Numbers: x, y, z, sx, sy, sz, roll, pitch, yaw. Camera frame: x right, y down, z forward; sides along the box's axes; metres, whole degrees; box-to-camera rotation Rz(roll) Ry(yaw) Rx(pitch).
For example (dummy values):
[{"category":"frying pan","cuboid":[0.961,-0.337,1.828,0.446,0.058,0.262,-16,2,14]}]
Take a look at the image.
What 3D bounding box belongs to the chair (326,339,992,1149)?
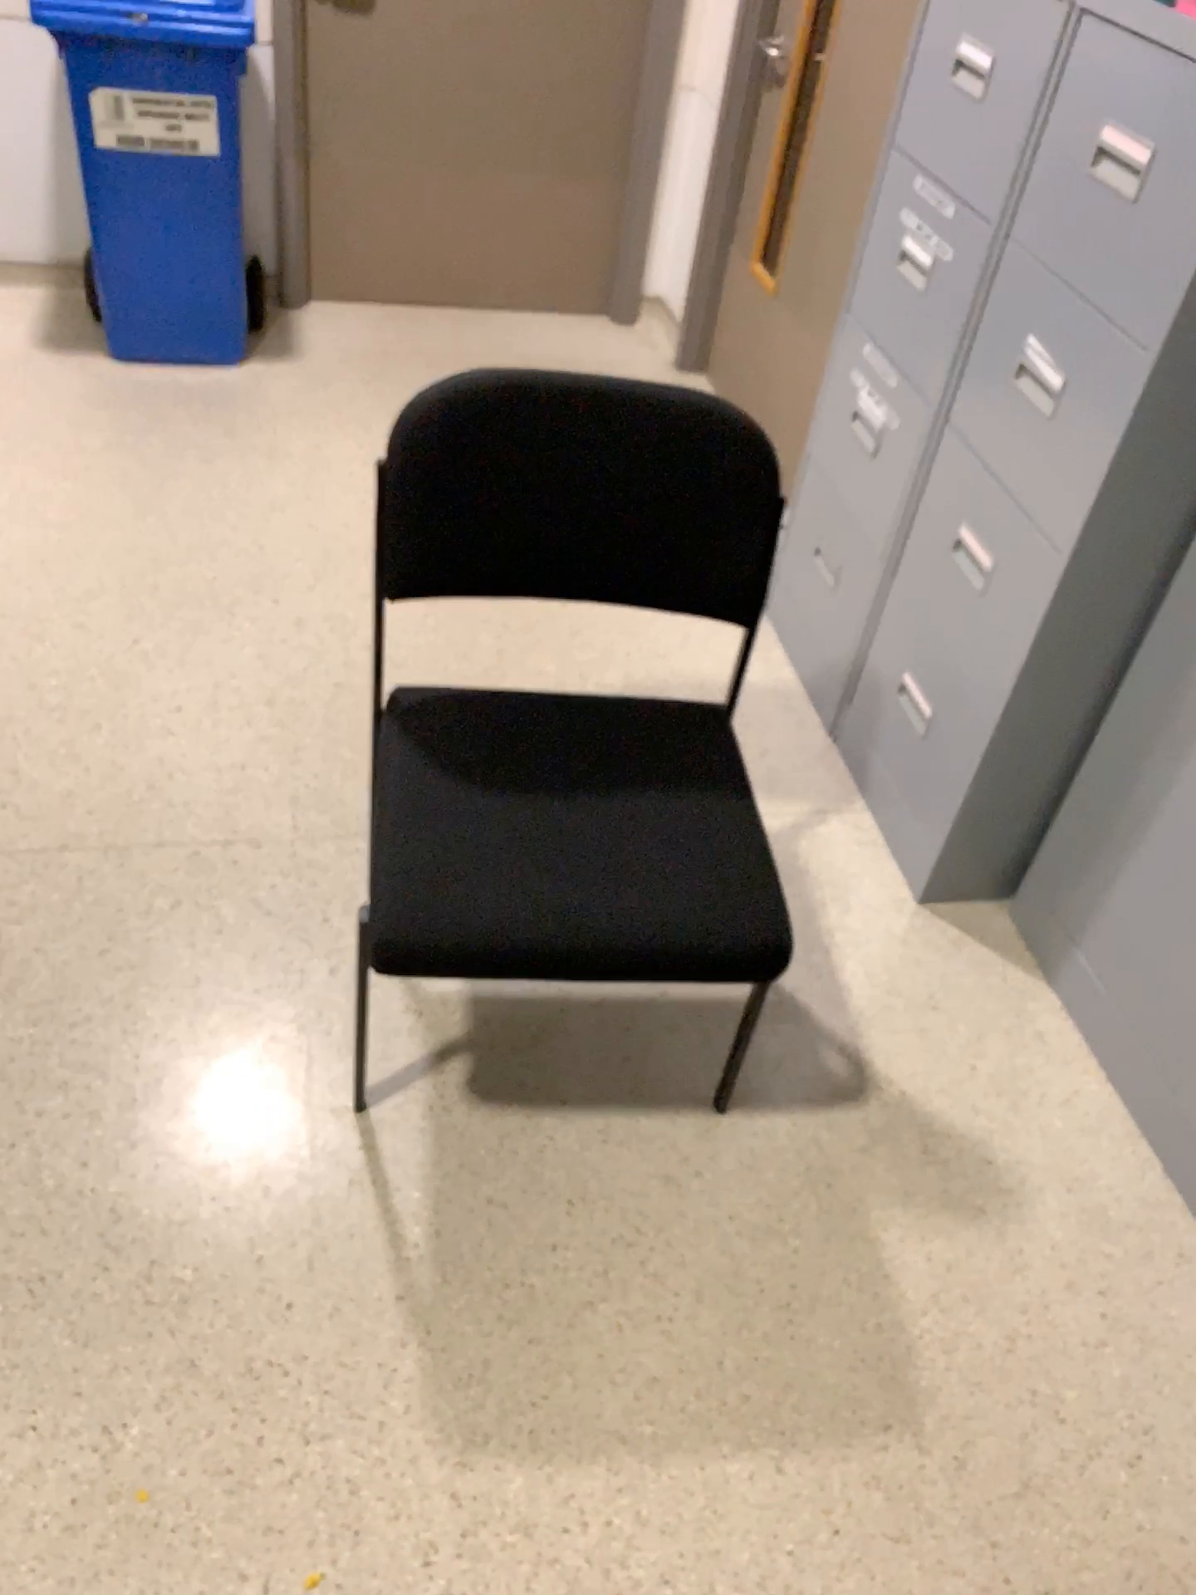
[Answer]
[{"category":"chair","cuboid":[-0.020,-0.042,1.639,0.630,0.852,0.596,1,42,-10]}]
